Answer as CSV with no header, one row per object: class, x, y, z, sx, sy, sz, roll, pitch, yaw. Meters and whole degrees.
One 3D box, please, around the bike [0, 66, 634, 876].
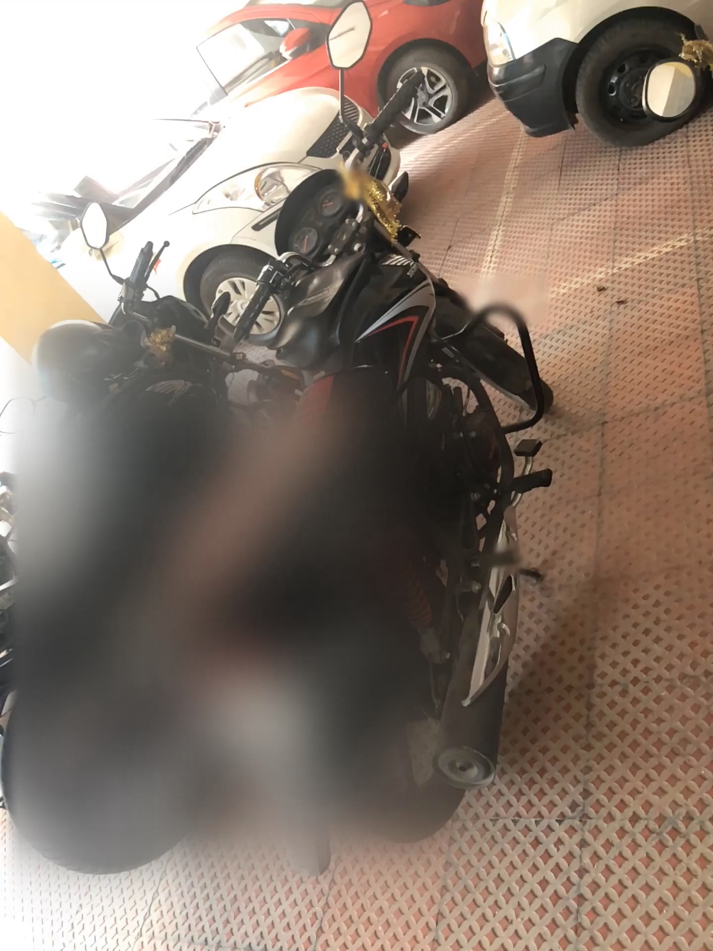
bike,-0.042,-0.087,1.847,0.747,1.011,1.560,-23,34,27
